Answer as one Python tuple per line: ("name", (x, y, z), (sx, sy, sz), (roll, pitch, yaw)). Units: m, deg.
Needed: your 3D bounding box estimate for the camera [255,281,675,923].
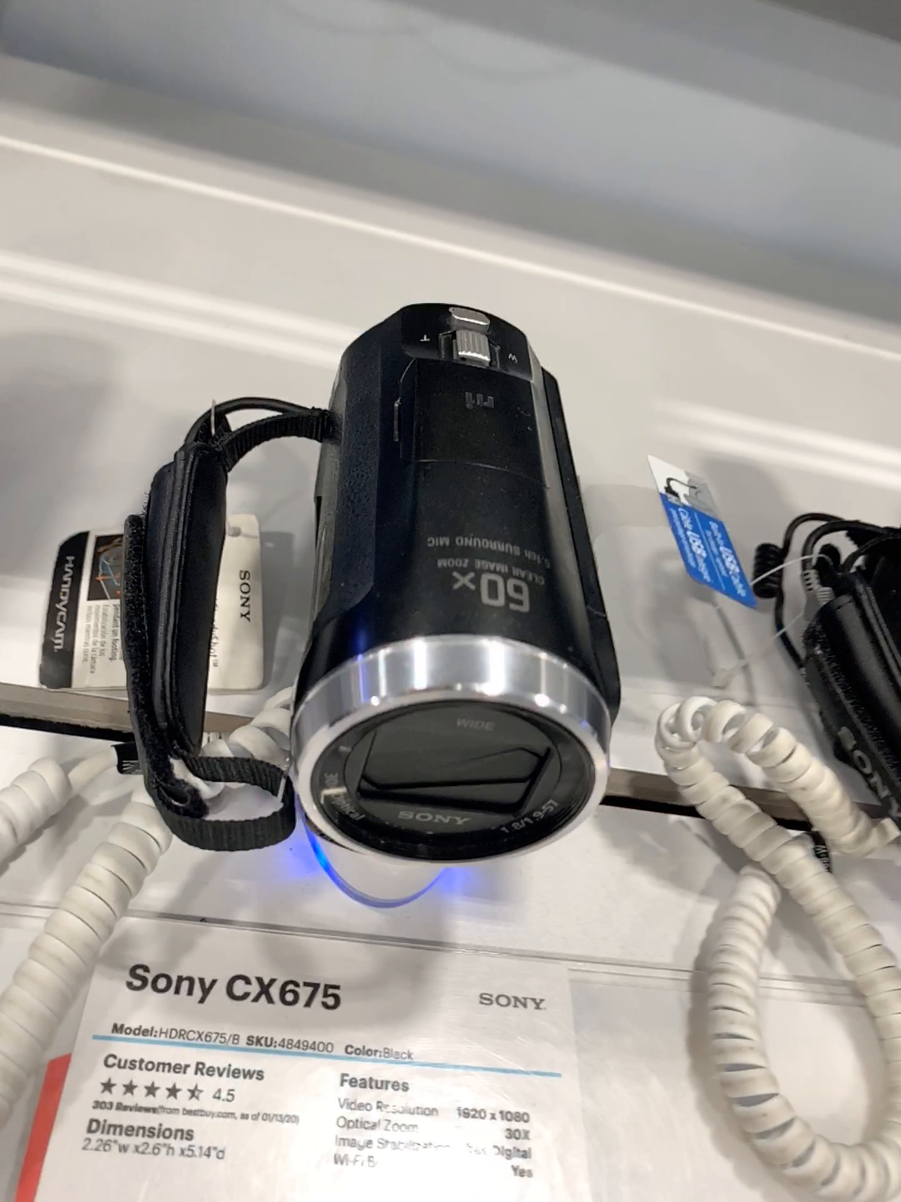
("camera", (-0.003, -0.004, 0.190), (0.053, 0.060, 0.113), (9, 44, -12))
